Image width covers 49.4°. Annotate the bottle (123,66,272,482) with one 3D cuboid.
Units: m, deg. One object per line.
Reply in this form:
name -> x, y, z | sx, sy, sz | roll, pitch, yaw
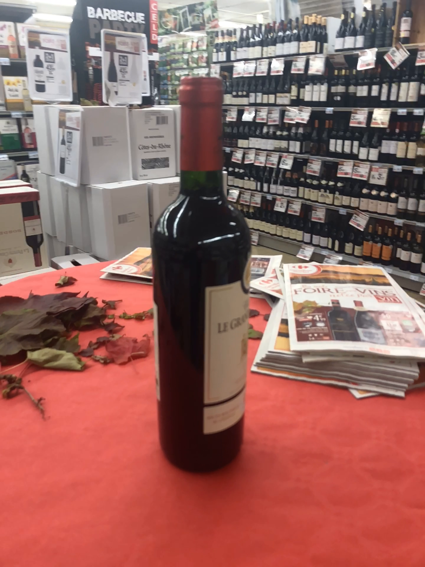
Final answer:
bottle -> -0.005, 0.000, 0.359 | 0.080, 0.299, 0.080 | 0, 20, 0
